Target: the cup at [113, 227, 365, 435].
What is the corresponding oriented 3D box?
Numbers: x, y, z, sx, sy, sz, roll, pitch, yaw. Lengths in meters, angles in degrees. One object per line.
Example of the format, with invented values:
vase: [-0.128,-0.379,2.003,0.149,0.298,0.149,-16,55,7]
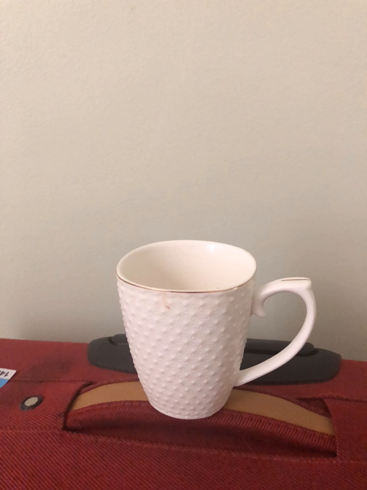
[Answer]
cup: [0.027,0.044,0.231,0.111,0.084,0.075,-2,21,2]
